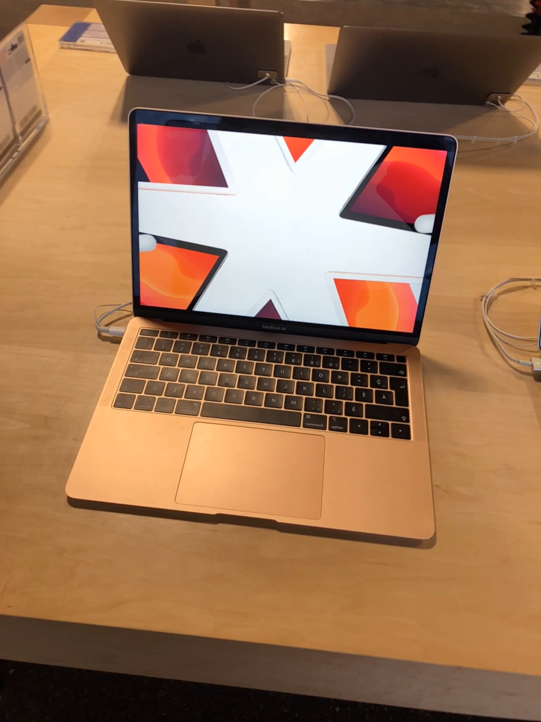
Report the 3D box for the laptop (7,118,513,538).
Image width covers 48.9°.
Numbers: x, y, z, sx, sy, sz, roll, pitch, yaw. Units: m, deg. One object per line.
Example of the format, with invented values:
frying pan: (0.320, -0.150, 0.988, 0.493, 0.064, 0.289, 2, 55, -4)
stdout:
laptop: (0.004, -0.043, 0.504, 0.291, 0.183, 0.285, 6, 47, 4)
